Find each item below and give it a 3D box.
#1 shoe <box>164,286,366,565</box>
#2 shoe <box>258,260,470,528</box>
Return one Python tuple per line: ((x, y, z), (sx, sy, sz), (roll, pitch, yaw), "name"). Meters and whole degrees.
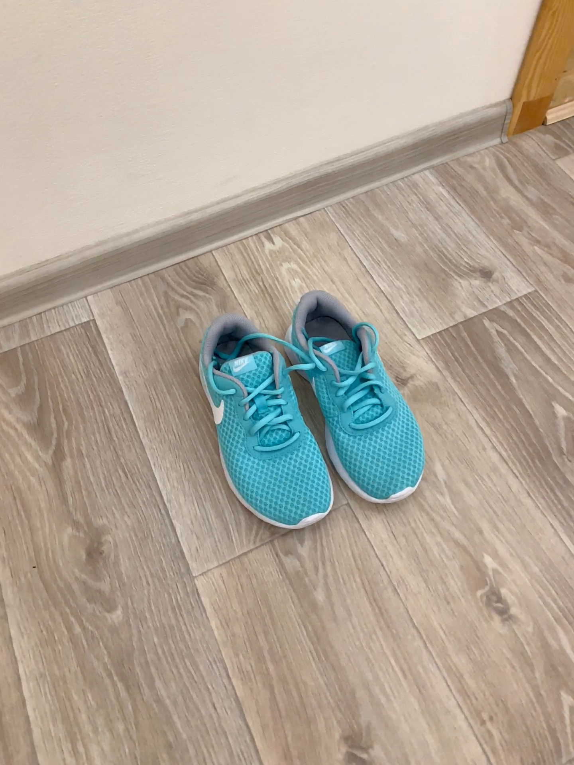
((-0.029, 0.037, 0.595), (0.101, 0.090, 0.251), (-22, 61, -11), "shoe")
((0.067, 0.005, 0.608), (0.098, 0.090, 0.251), (-22, 61, -11), "shoe")
